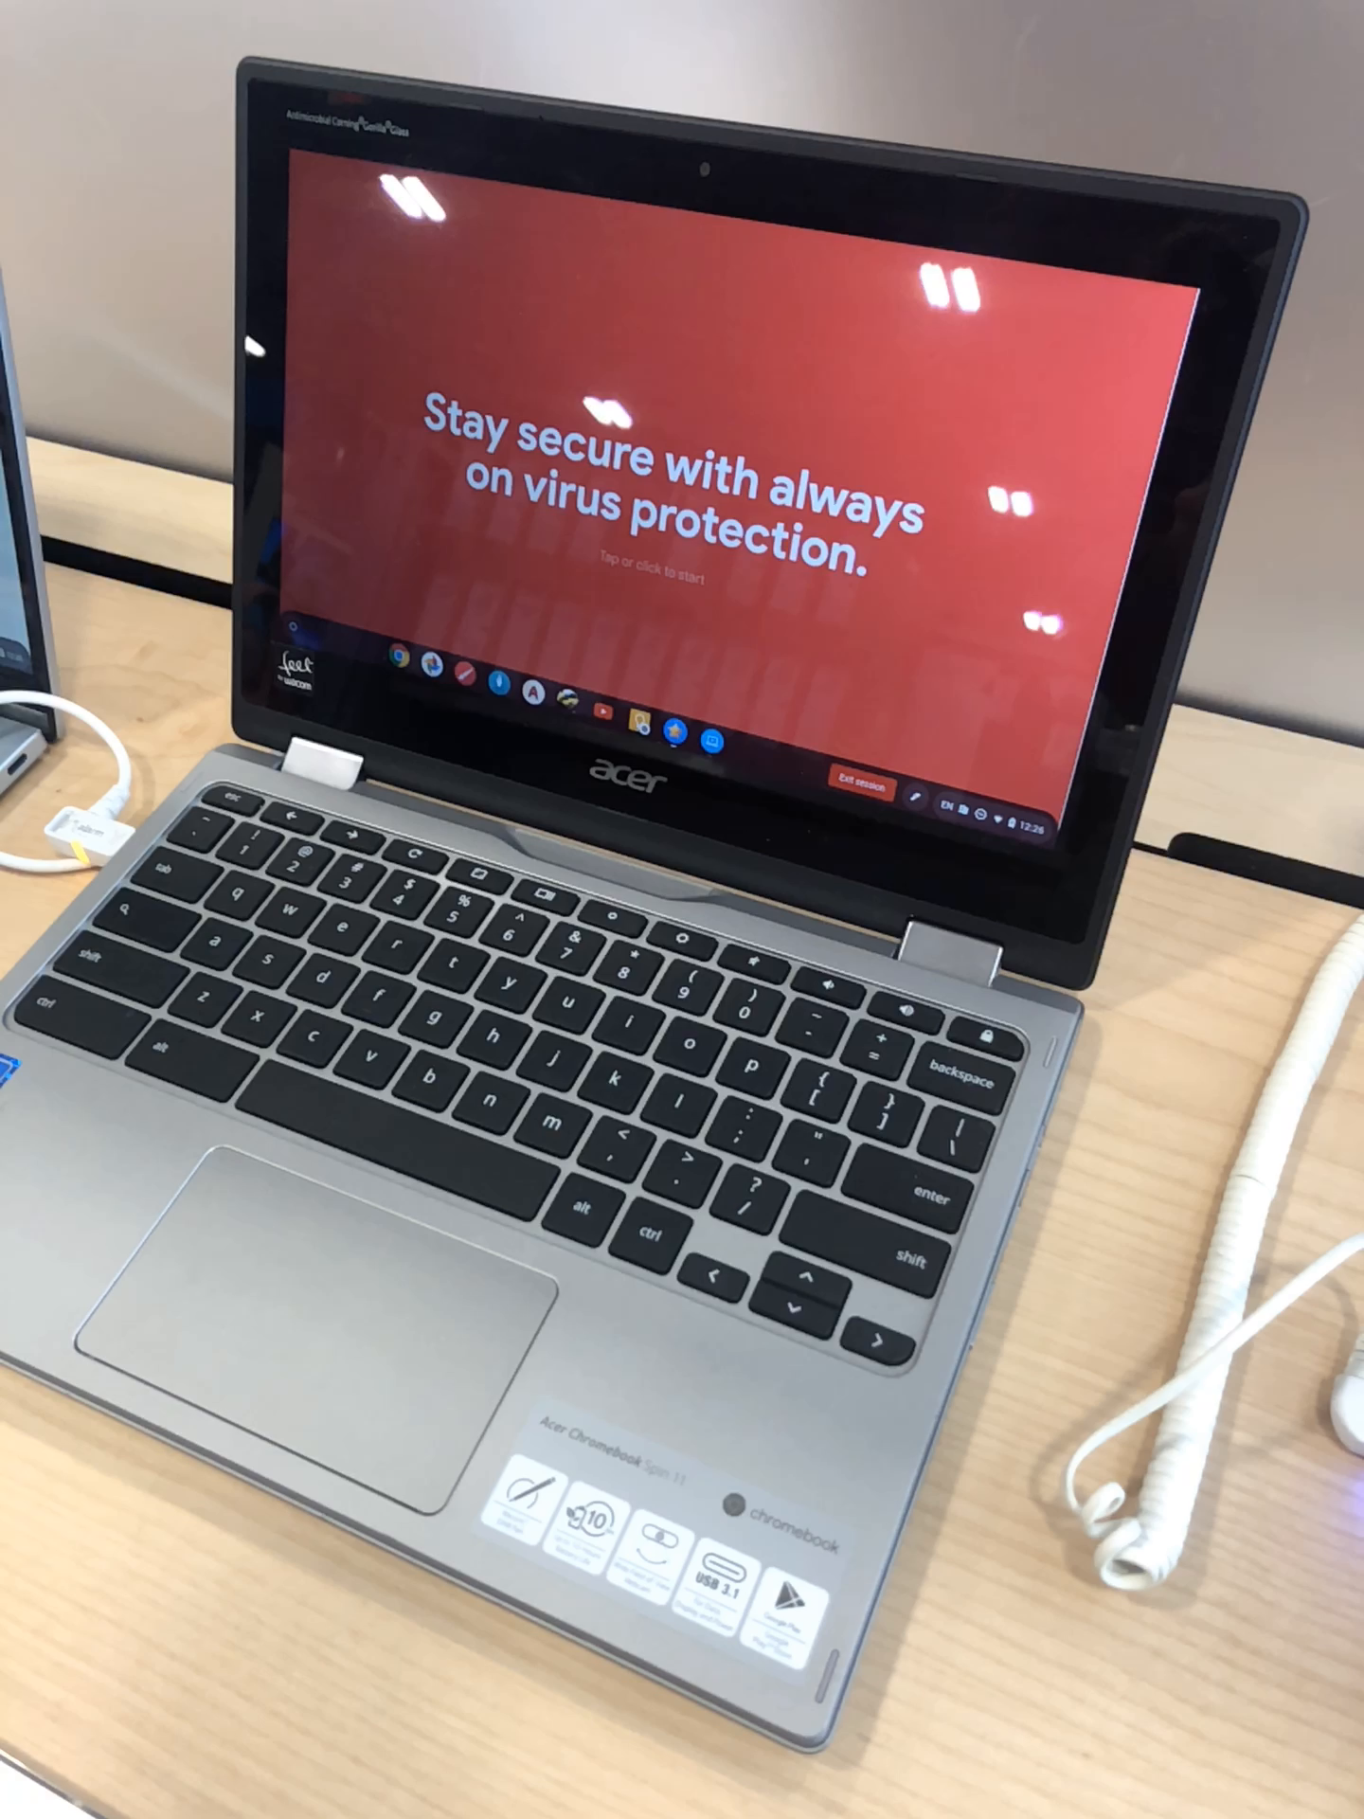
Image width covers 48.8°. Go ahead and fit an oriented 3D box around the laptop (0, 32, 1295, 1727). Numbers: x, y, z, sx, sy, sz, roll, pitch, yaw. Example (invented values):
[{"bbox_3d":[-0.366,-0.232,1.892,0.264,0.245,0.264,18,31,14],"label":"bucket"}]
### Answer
[{"bbox_3d":[-0.048,-0.042,0.362,0.287,0.176,0.296,17,53,18],"label":"laptop"}]
